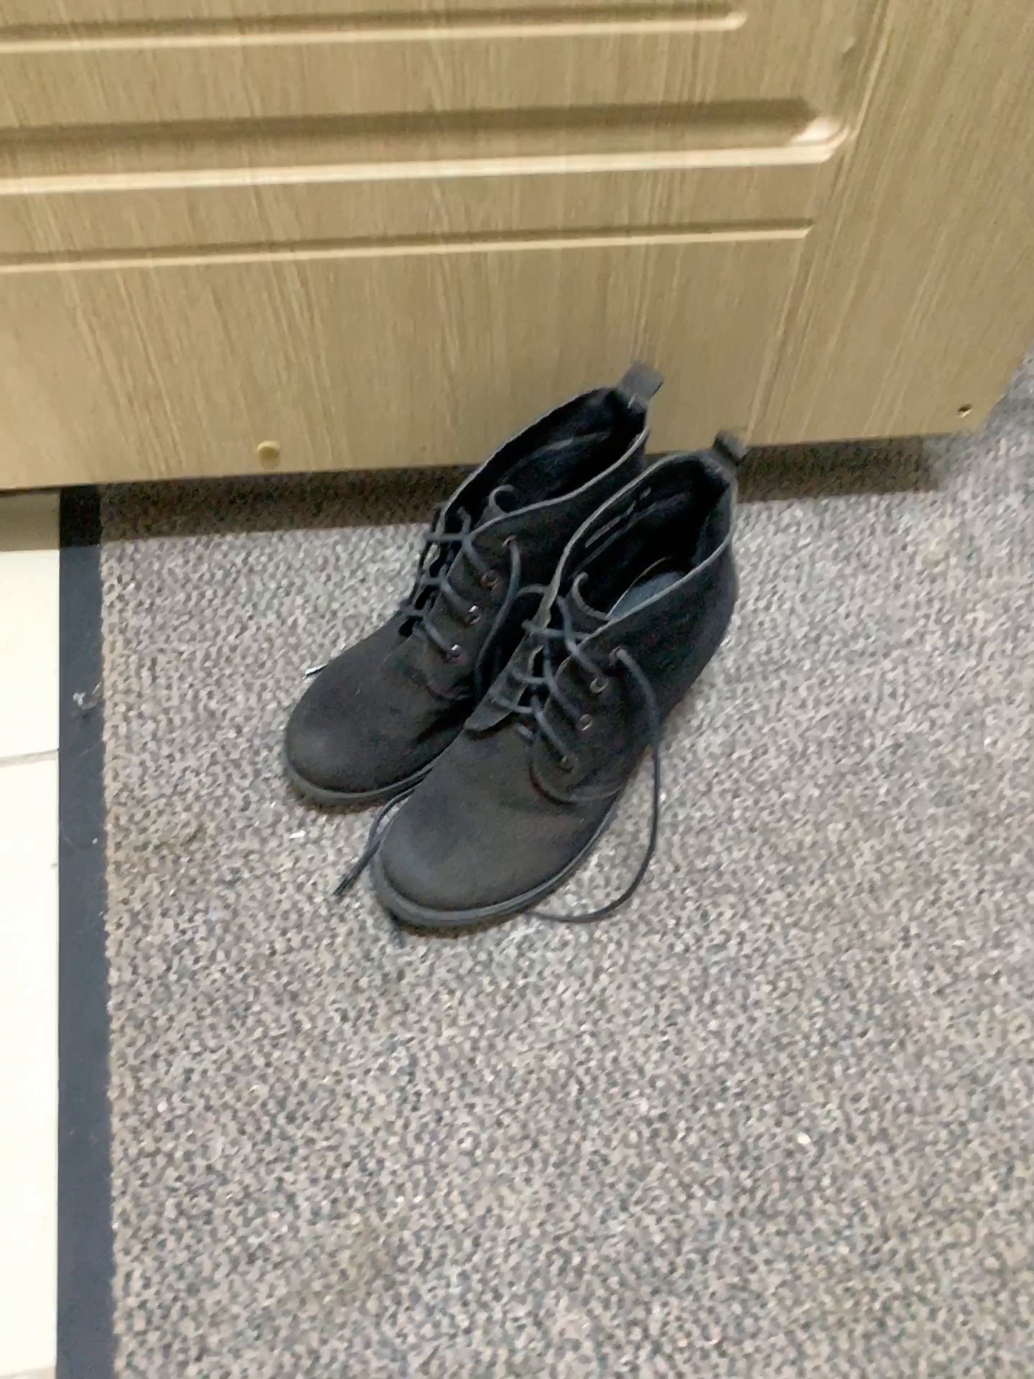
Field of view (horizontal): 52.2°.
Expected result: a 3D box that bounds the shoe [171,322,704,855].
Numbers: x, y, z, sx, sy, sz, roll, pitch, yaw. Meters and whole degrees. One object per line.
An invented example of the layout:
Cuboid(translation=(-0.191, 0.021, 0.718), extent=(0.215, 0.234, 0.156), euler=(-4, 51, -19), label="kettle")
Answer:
Cuboid(translation=(-0.030, -0.046, 0.524), extent=(0.230, 0.160, 0.080), euler=(-37, 68, -20), label="shoe")

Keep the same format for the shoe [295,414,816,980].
Cuboid(translation=(0.022, 0.007, 0.505), extent=(0.080, 0.160, 0.230), euler=(40, 67, 19), label="shoe")
